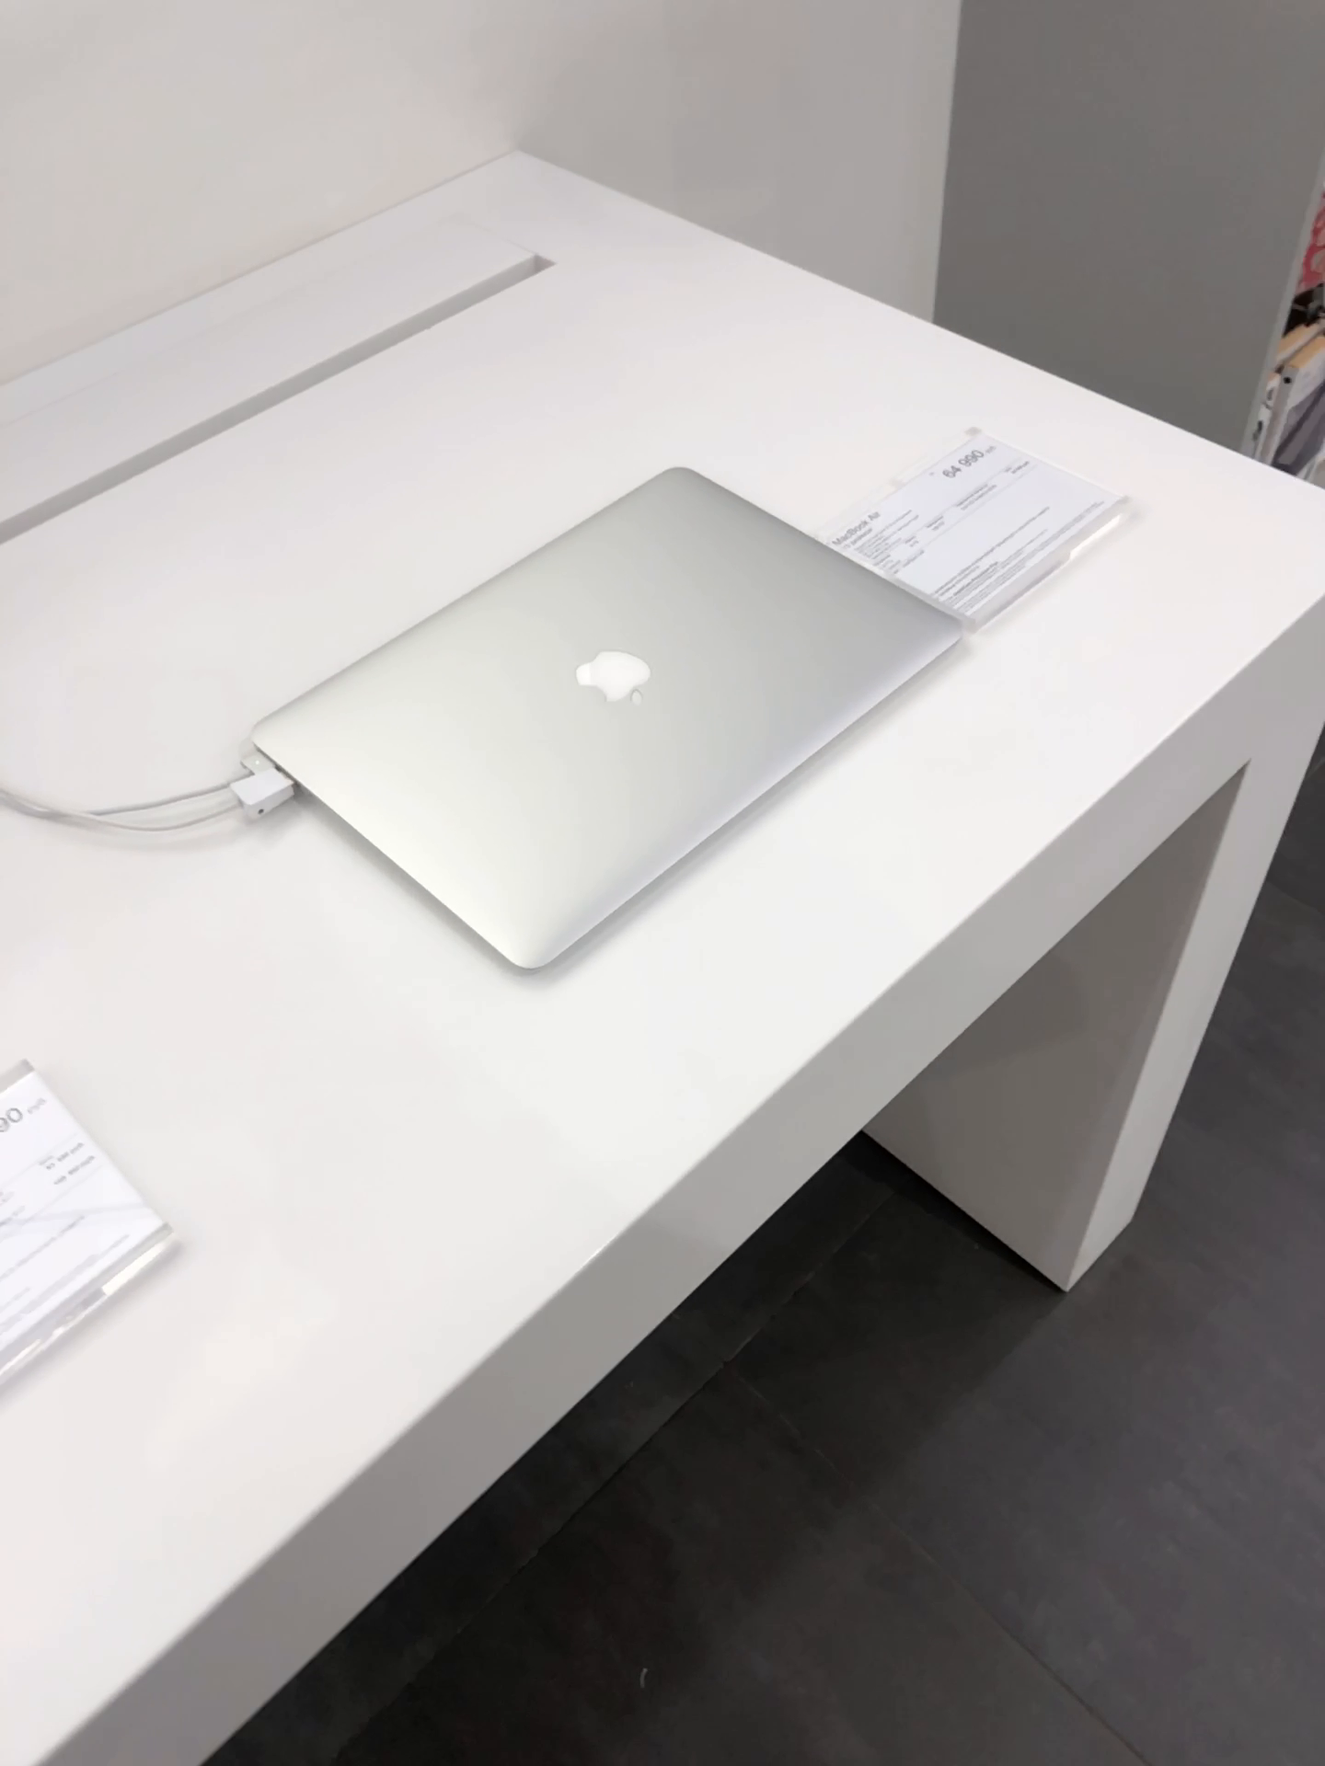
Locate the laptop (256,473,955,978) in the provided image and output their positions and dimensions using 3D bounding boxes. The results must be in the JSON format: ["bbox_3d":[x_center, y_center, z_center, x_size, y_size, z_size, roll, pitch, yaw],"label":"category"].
[{"bbox_3d":[-0.026,-0.102,0.766,0.308,0.008,0.210,-38,59,-25],"label":"laptop"}]
